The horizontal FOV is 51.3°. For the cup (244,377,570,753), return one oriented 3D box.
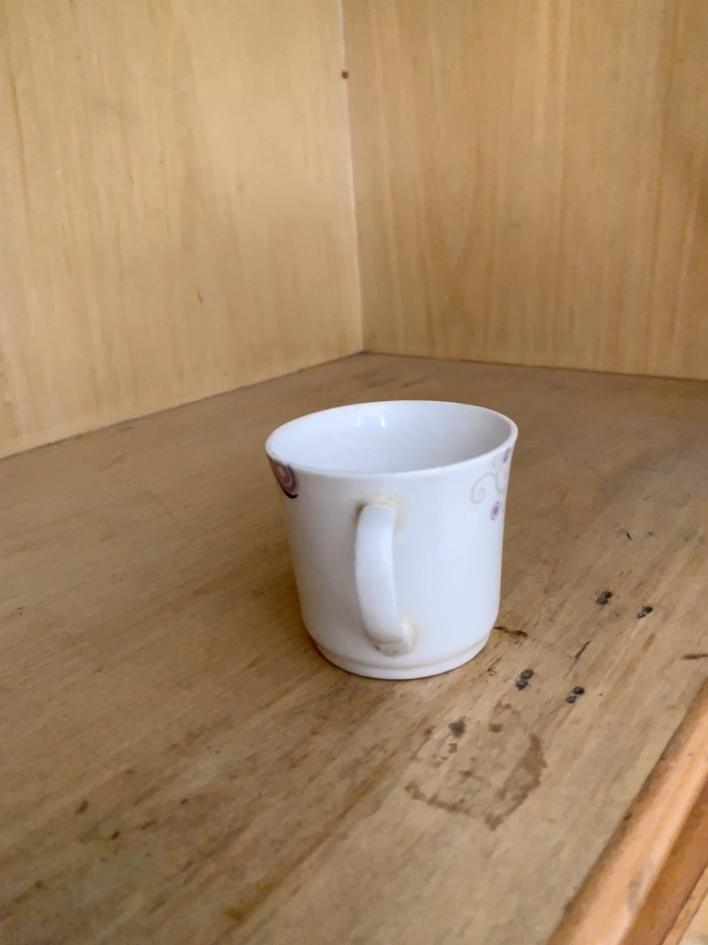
[{"bbox_3d":[0.019,0.018,0.211,0.070,0.070,0.091,-1,20,9],"label":"cup"}]
